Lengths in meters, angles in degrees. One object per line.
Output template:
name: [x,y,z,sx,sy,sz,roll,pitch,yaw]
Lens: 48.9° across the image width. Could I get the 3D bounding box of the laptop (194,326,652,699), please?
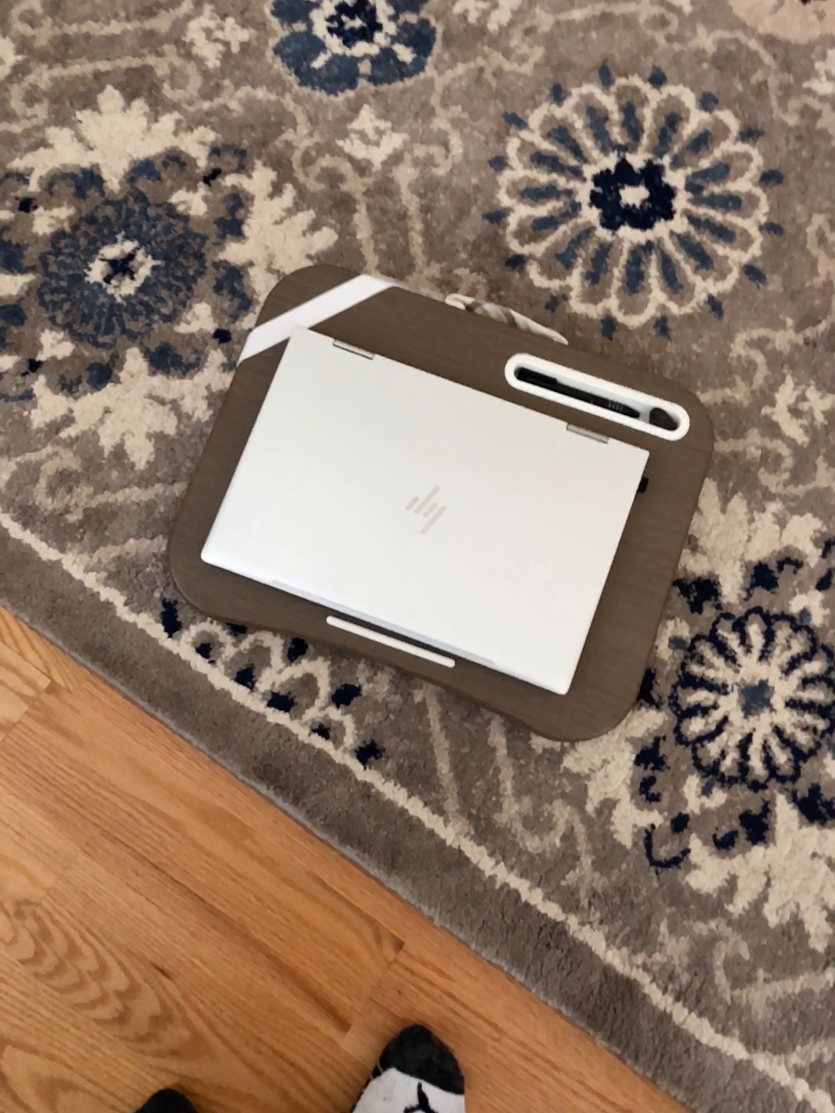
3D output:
laptop: [0.007,-0.045,0.851,0.354,0.026,0.241,20,79,4]
